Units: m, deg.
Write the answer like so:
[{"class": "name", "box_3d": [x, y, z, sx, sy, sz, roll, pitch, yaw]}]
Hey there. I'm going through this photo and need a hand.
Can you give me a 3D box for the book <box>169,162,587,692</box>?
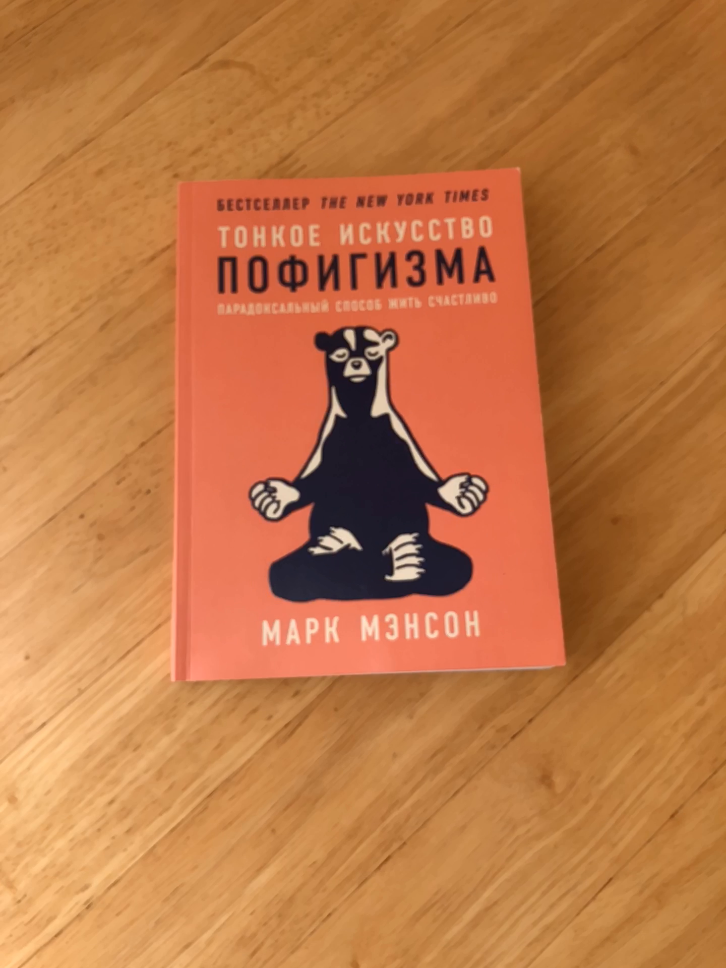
[{"class": "book", "box_3d": [0.001, -0.025, 0.316, 0.143, 0.033, 0.197, -2, 78, -3]}]
